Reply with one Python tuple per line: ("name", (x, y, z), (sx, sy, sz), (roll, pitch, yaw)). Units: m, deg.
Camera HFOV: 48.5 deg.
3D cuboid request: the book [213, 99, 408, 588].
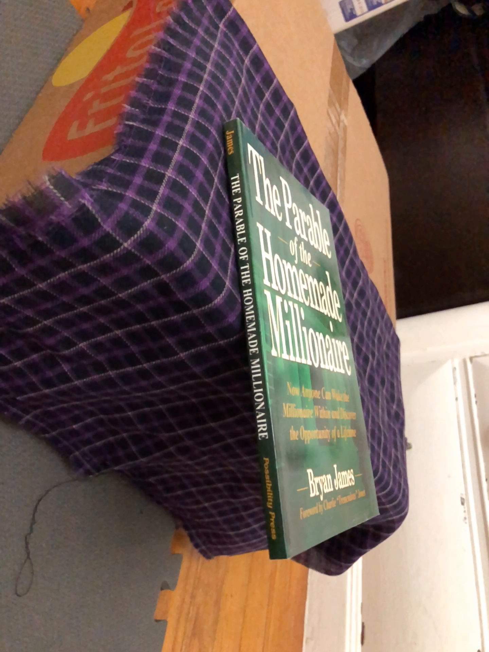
("book", (0.044, 0.010, 0.300), (0.161, 0.020, 0.210), (17, 63, -59))
